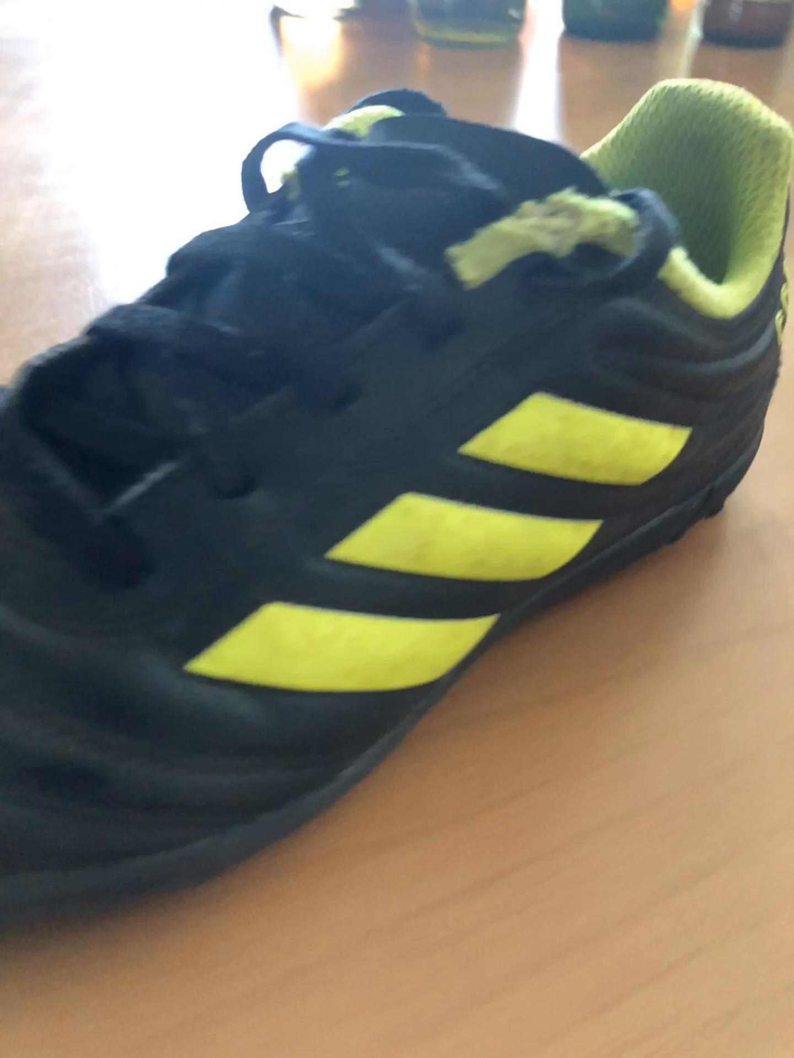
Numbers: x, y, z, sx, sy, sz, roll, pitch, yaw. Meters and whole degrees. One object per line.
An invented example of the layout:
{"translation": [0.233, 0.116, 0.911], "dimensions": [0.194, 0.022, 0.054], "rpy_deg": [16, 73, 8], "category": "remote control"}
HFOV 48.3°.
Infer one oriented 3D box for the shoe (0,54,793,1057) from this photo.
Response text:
{"translation": [-0.015, -0.010, 0.155], "dimensions": [0.221, 0.090, 0.090], "rpy_deg": [-26, 48, -29], "category": "shoe"}
